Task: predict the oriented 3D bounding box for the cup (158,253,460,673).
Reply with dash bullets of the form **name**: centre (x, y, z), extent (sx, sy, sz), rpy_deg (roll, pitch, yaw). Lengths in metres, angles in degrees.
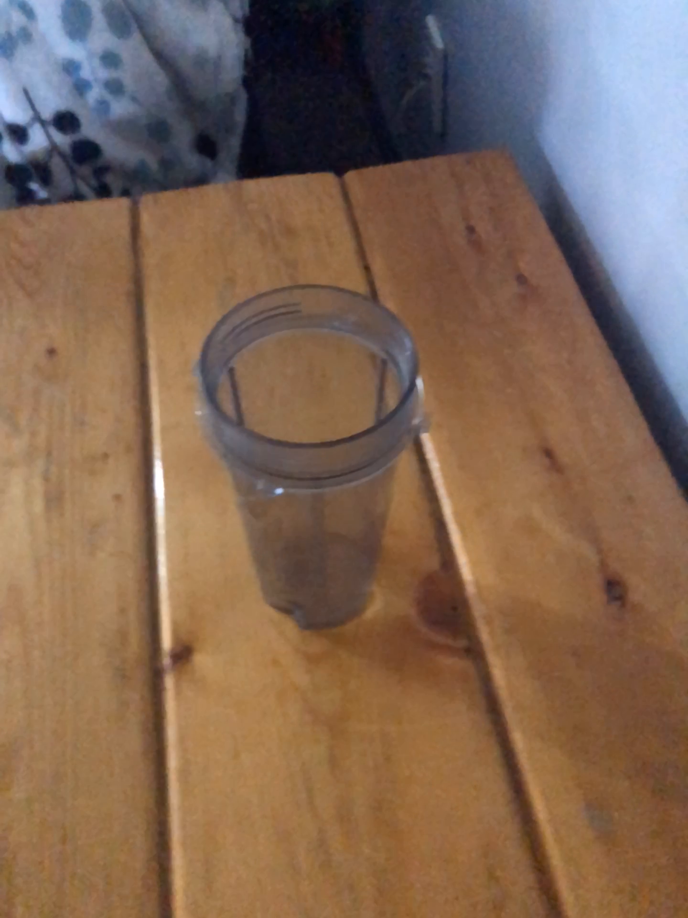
- **cup**: centre (-0.013, 0.015, 0.355), extent (0.090, 0.190, 0.080), rpy_deg (-16, 56, -9)
